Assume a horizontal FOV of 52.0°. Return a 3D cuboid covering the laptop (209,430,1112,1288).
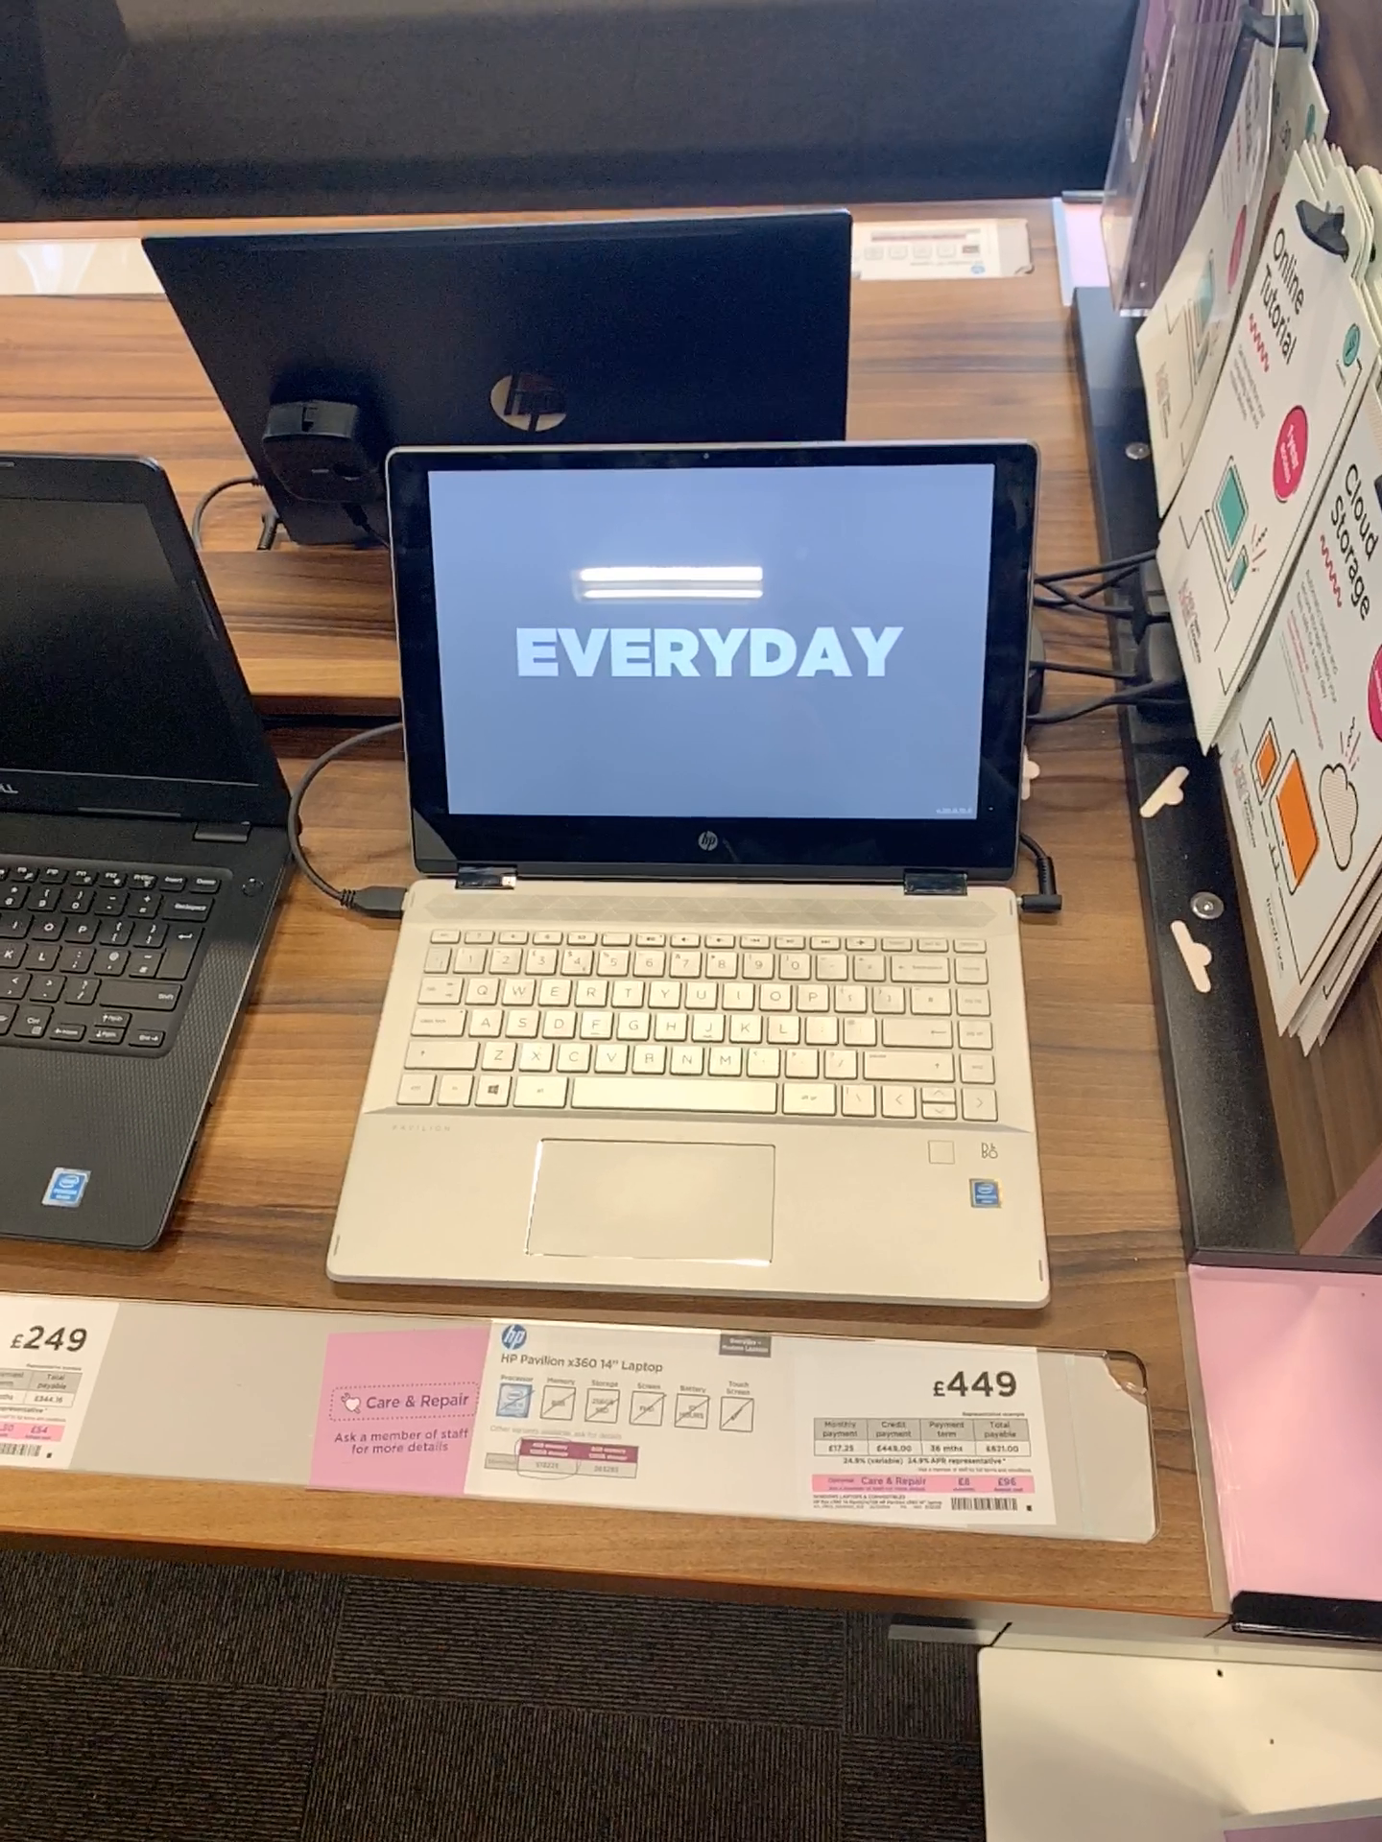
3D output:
[{"bbox_3d":[0.001,-0.043,0.651,0.313,0.154,0.363,1,56,6],"label":"laptop"}]
